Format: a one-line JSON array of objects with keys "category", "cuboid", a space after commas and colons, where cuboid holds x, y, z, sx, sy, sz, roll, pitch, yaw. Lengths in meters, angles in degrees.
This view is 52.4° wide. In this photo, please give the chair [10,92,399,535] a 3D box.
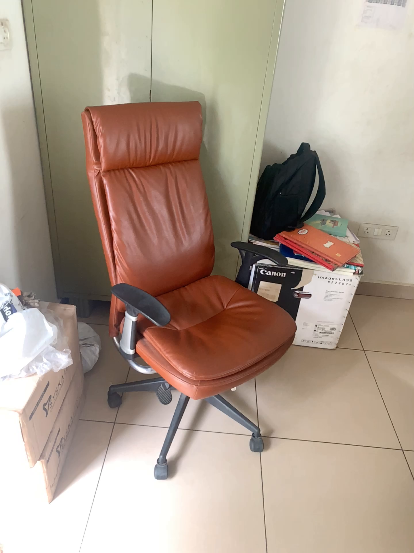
[{"category": "chair", "cuboid": [-0.096, 0.028, 1.503, 0.691, 1.085, 0.932, -21, 41, -36]}]
